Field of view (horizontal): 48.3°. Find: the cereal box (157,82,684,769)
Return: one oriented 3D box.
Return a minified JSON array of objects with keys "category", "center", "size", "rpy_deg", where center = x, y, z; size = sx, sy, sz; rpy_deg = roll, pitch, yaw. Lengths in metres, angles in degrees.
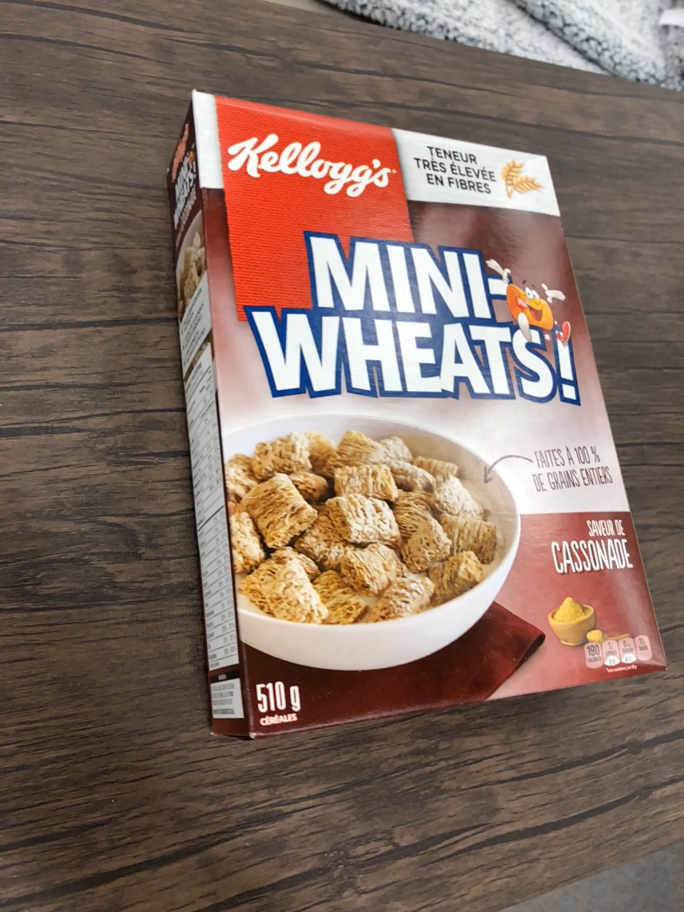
[{"category":"cereal box","center":[0.037,-0.018,0.342],"size":[0.211,0.060,0.260],"rpy_deg":[0,73,-24]}]
